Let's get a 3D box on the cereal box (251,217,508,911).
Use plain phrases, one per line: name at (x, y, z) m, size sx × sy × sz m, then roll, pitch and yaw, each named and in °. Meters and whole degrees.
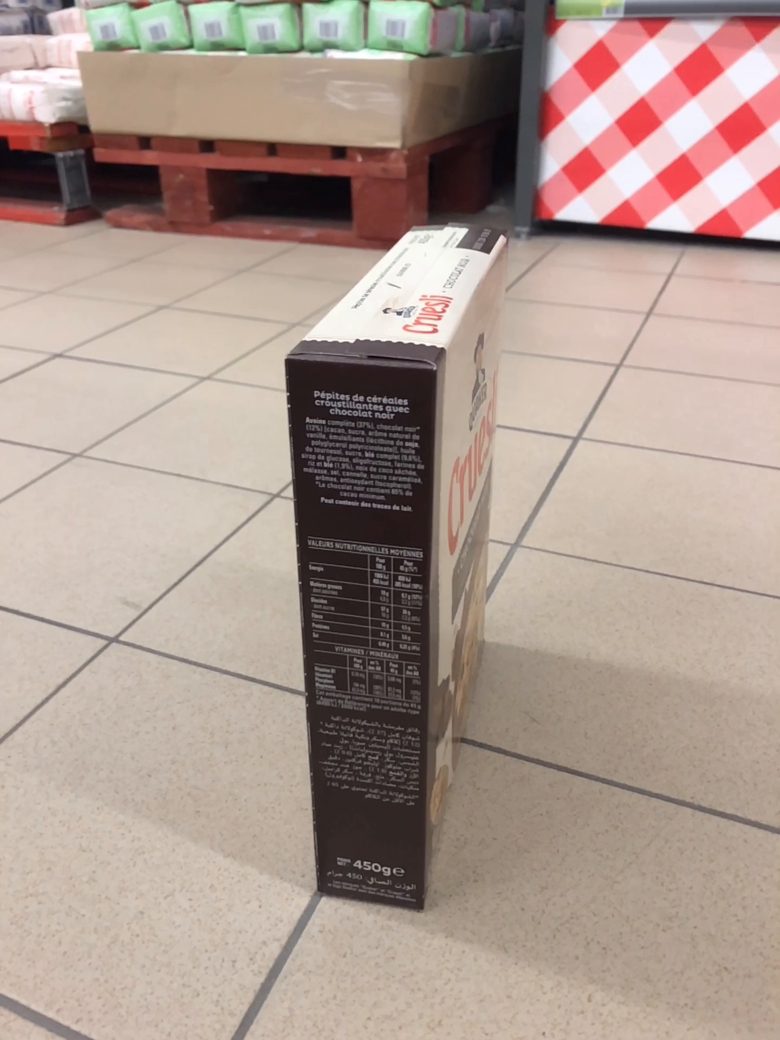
cereal box at (0.009, 0.007, 0.390) m, size 0.050 × 0.239 × 0.201 m, roll 6°, pitch 30°, yaw 12°
